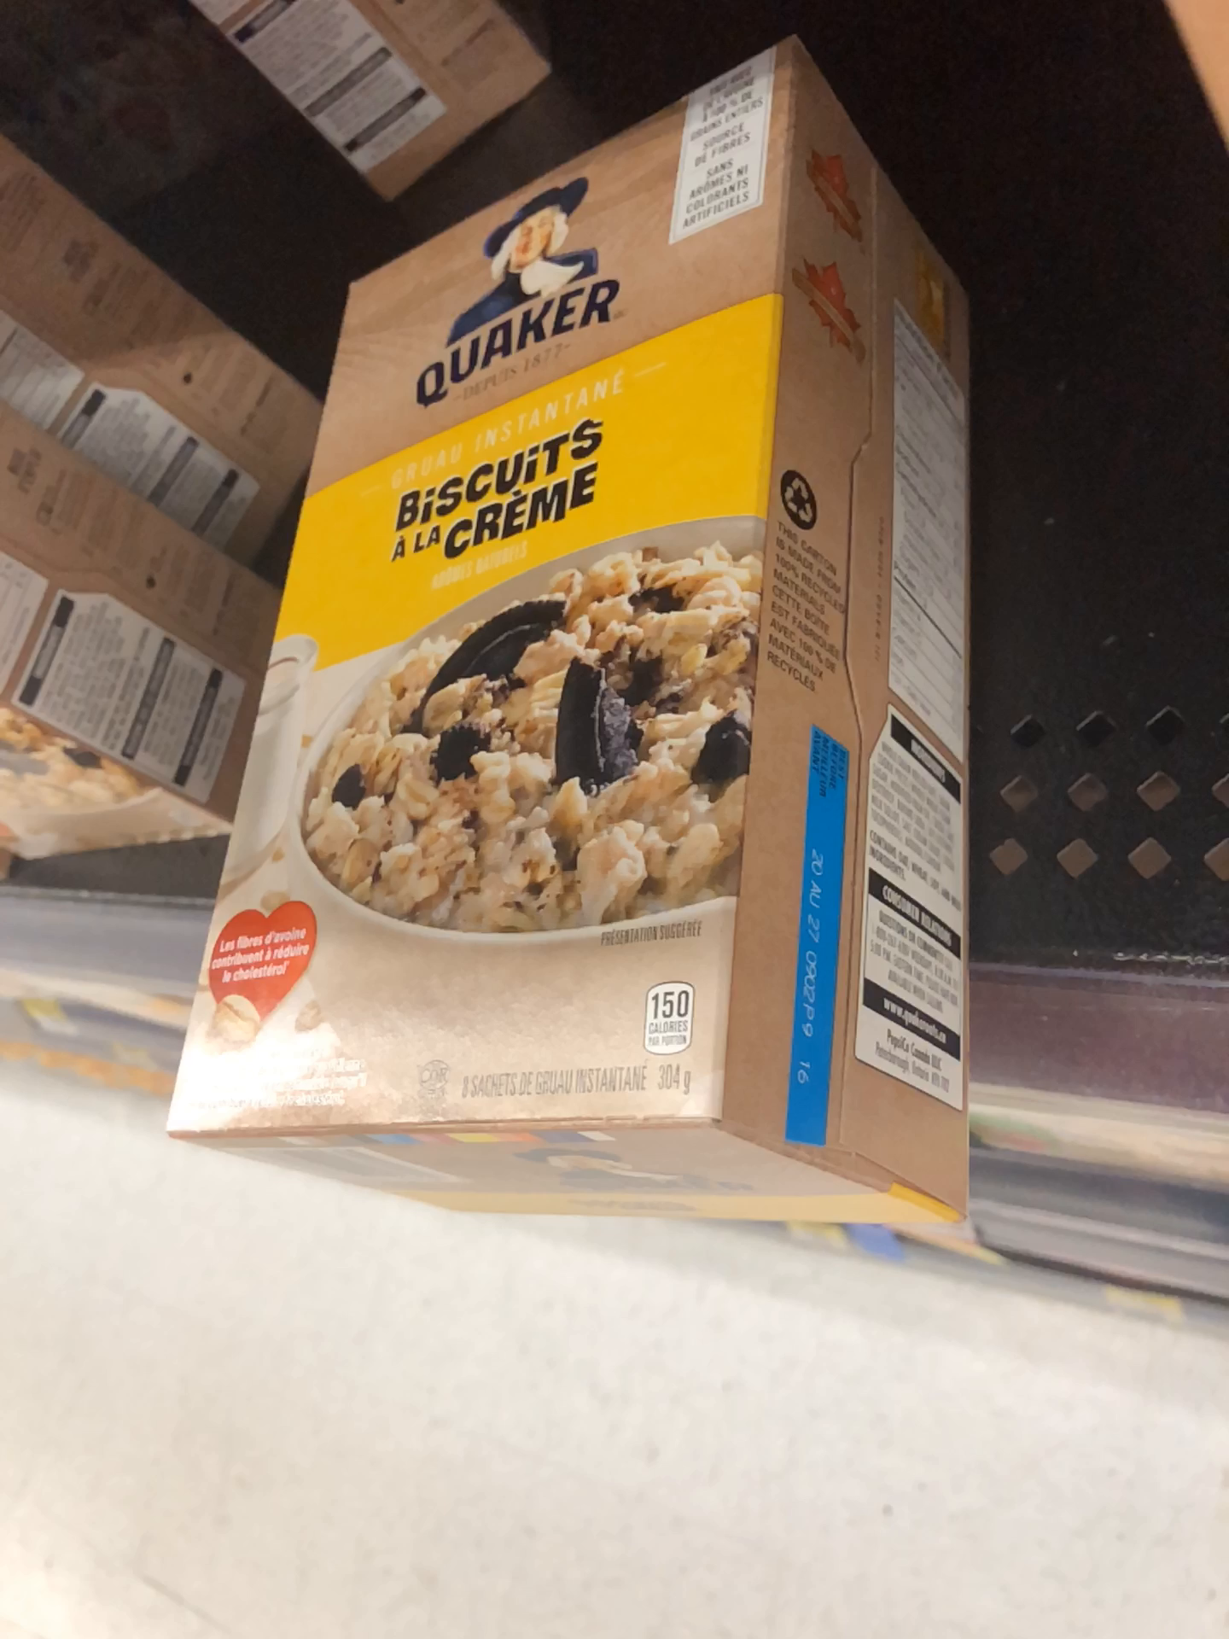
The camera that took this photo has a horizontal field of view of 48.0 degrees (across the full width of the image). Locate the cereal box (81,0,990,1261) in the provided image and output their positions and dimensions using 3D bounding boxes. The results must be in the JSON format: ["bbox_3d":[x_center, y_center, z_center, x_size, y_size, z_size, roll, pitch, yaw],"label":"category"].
[{"bbox_3d":[-0.009,-0.031,0.268,0.141,0.070,0.210,-11,63,37],"label":"cereal box"}]
